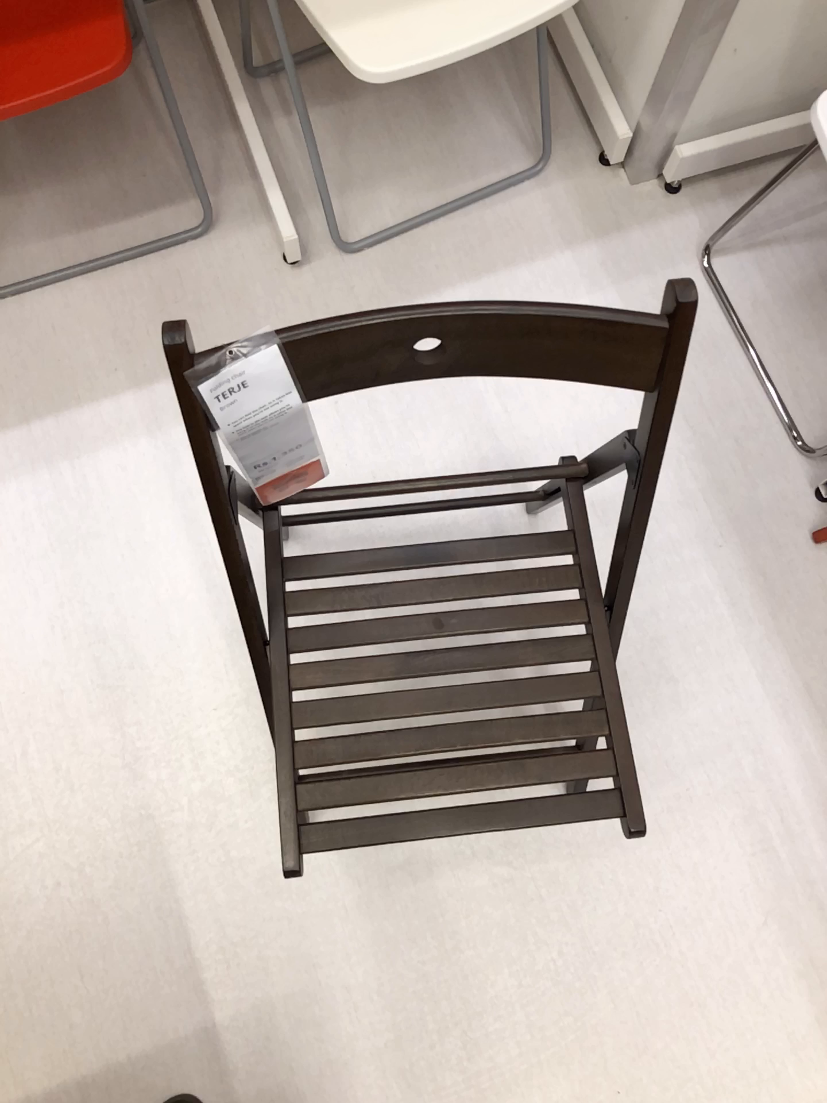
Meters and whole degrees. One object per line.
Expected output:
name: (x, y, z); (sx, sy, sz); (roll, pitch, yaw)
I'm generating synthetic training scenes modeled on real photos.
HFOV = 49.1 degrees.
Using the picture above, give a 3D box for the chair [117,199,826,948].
chair: (0.018, 0.076, 1.026); (0.460, 0.779, 0.501); (-6, 77, -3)
